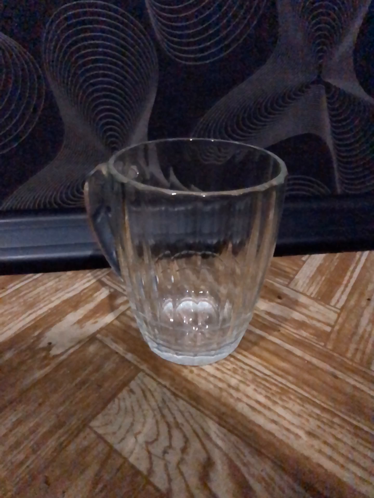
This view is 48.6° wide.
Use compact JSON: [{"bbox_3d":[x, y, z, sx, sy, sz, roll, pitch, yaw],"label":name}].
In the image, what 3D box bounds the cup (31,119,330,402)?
[{"bbox_3d":[-0.003,-0.010,0.259,0.126,0.107,0.114,22,35,34],"label":"cup"}]
